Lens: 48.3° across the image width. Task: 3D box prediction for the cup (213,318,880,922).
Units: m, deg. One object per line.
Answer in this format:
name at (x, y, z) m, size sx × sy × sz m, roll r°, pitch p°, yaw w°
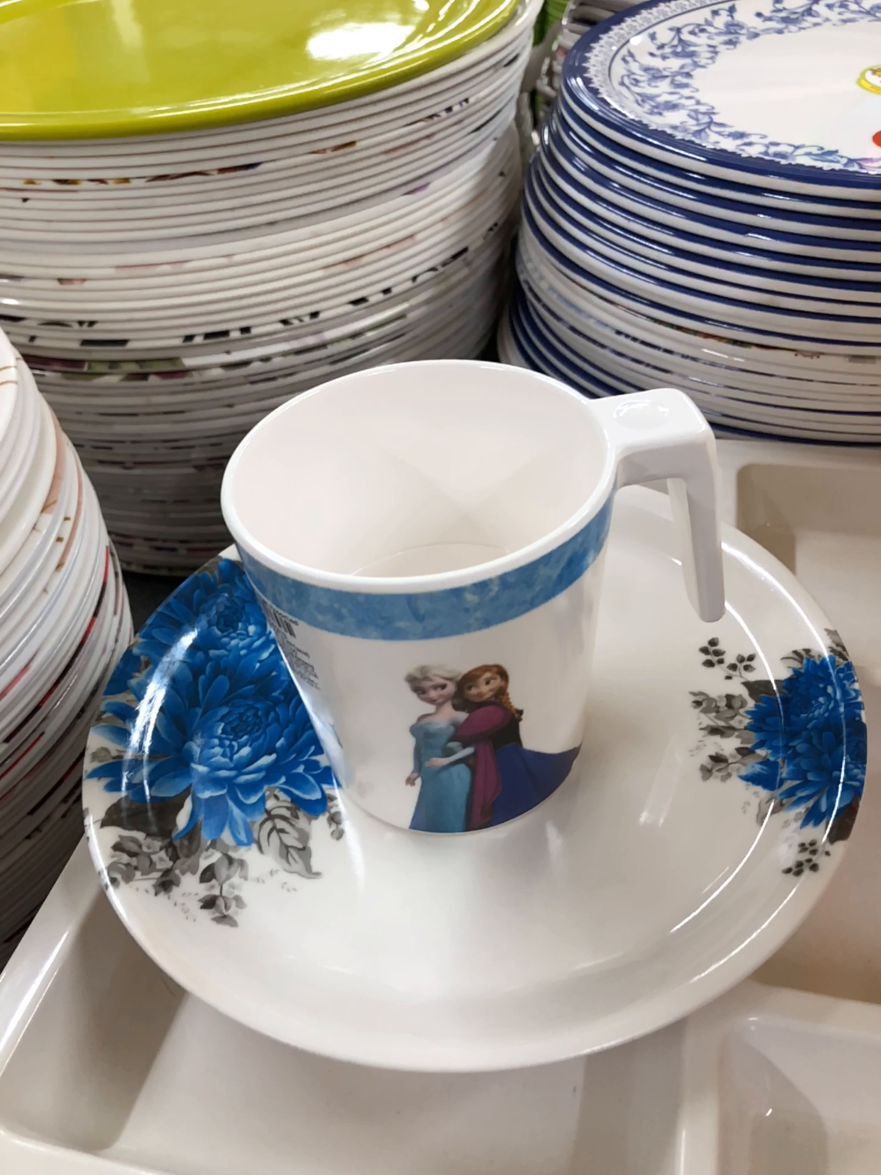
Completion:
cup at (0.018, 0.007, 0.218) m, size 0.110 × 0.089 × 0.081 m, roll -8°, pitch 42°, yaw -2°
